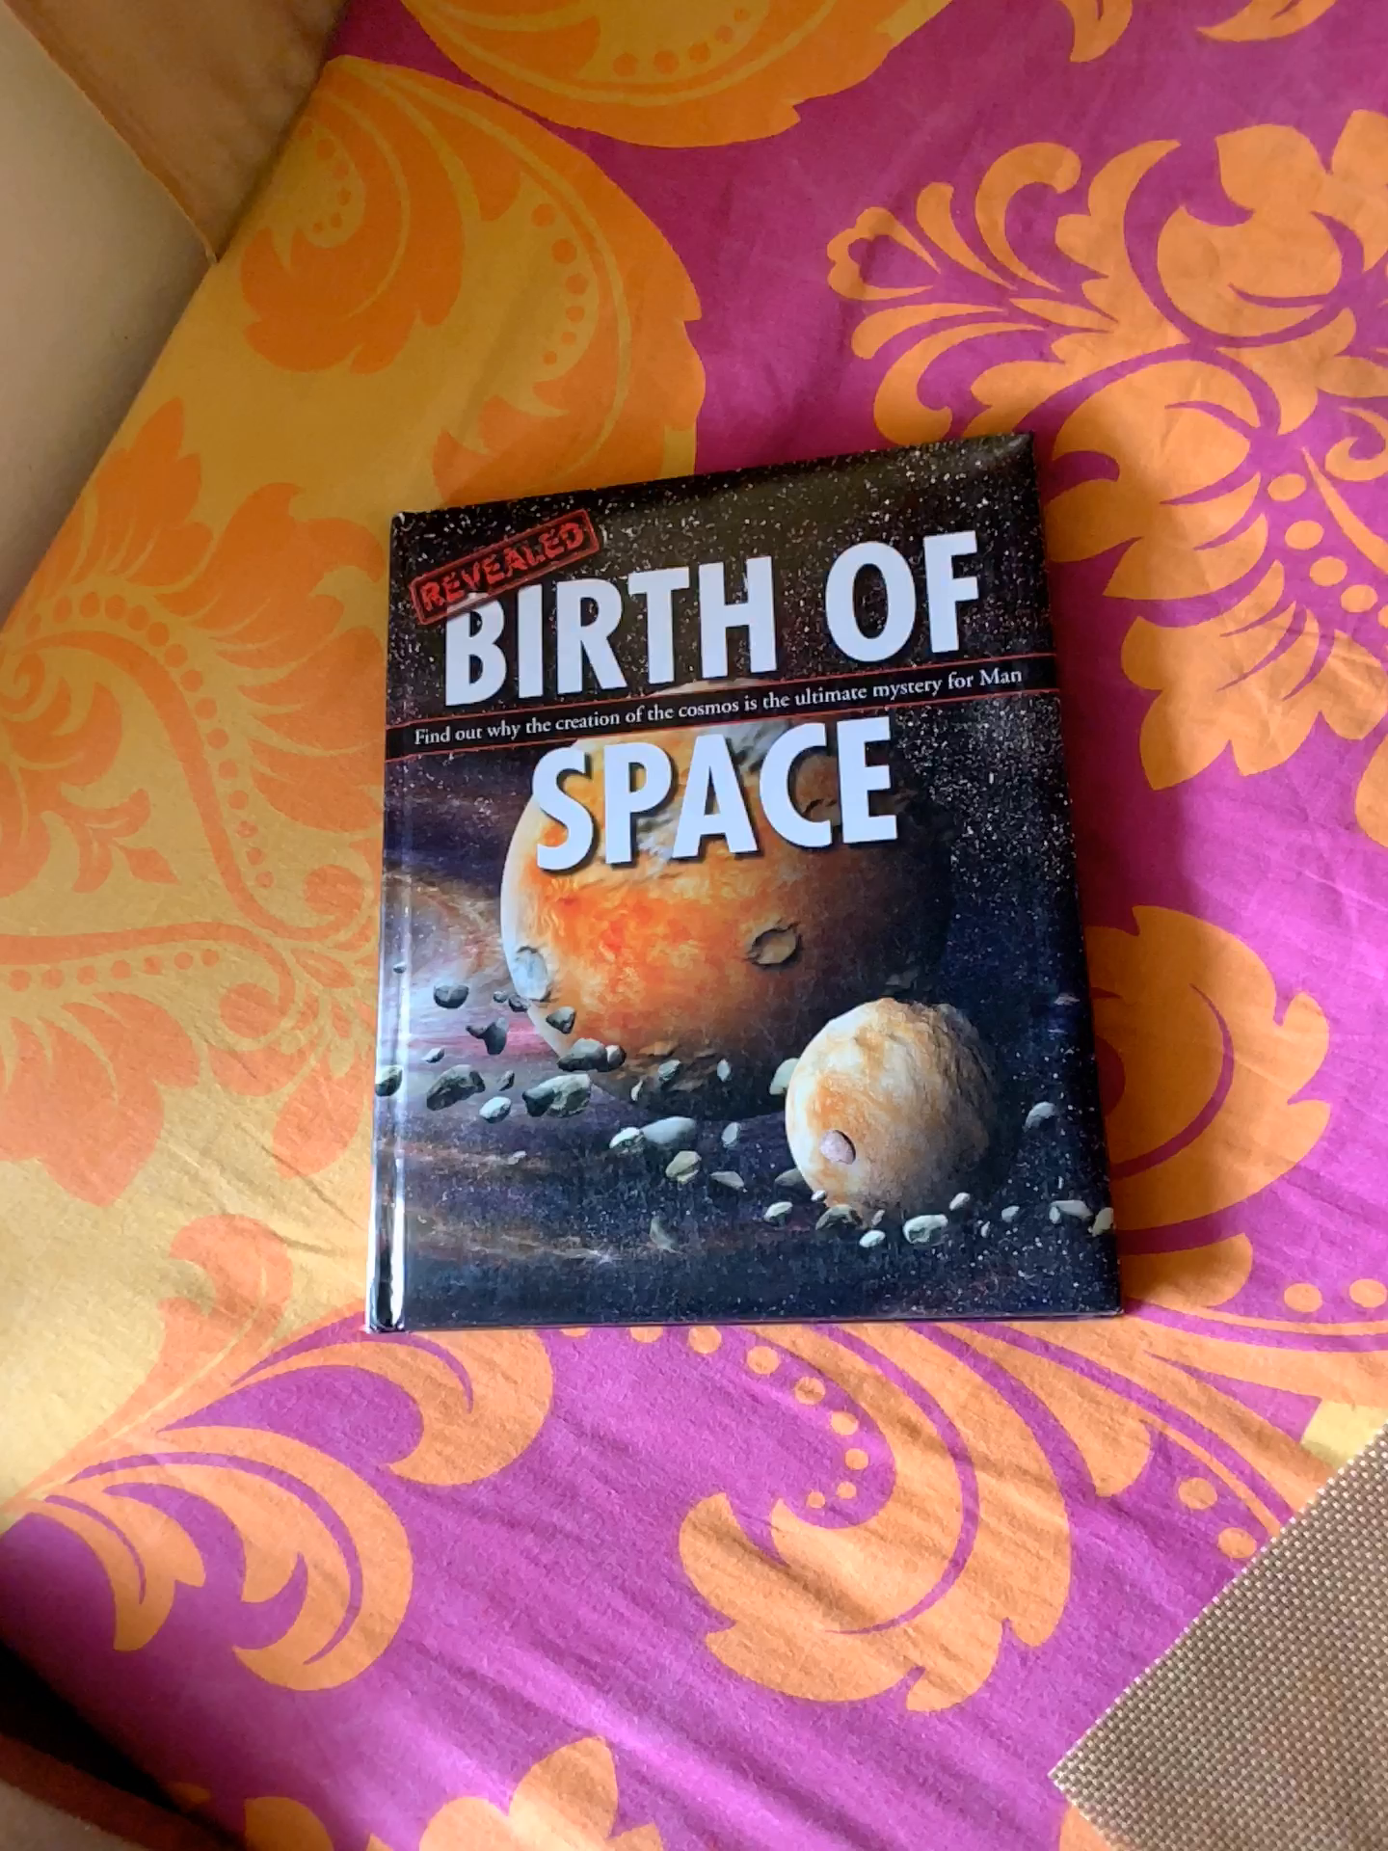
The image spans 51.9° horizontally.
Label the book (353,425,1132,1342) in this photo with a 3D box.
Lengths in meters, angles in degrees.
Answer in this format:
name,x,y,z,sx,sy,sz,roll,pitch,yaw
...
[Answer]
name,x,y,z,sx,sy,sz,roll,pitch,yaw
book,0.006,-0.013,0.422,0.211,0.020,0.258,-4,76,11
